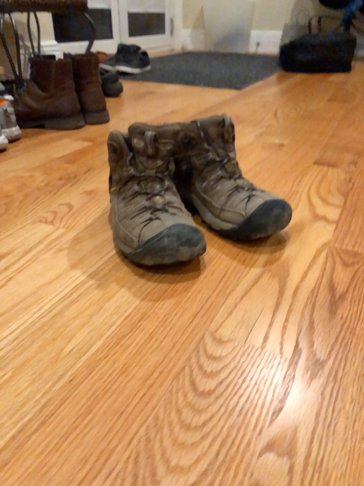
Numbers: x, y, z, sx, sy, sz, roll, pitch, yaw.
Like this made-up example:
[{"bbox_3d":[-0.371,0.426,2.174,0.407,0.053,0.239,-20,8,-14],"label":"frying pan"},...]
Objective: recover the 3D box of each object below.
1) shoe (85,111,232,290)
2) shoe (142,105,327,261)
[{"bbox_3d":[-0.046,-0.077,0.536,0.107,0.139,0.261,-10,31,-19],"label":"shoe"},{"bbox_3d":[0.057,-0.105,0.588,0.108,0.139,0.260,-19,35,-31],"label":"shoe"}]
